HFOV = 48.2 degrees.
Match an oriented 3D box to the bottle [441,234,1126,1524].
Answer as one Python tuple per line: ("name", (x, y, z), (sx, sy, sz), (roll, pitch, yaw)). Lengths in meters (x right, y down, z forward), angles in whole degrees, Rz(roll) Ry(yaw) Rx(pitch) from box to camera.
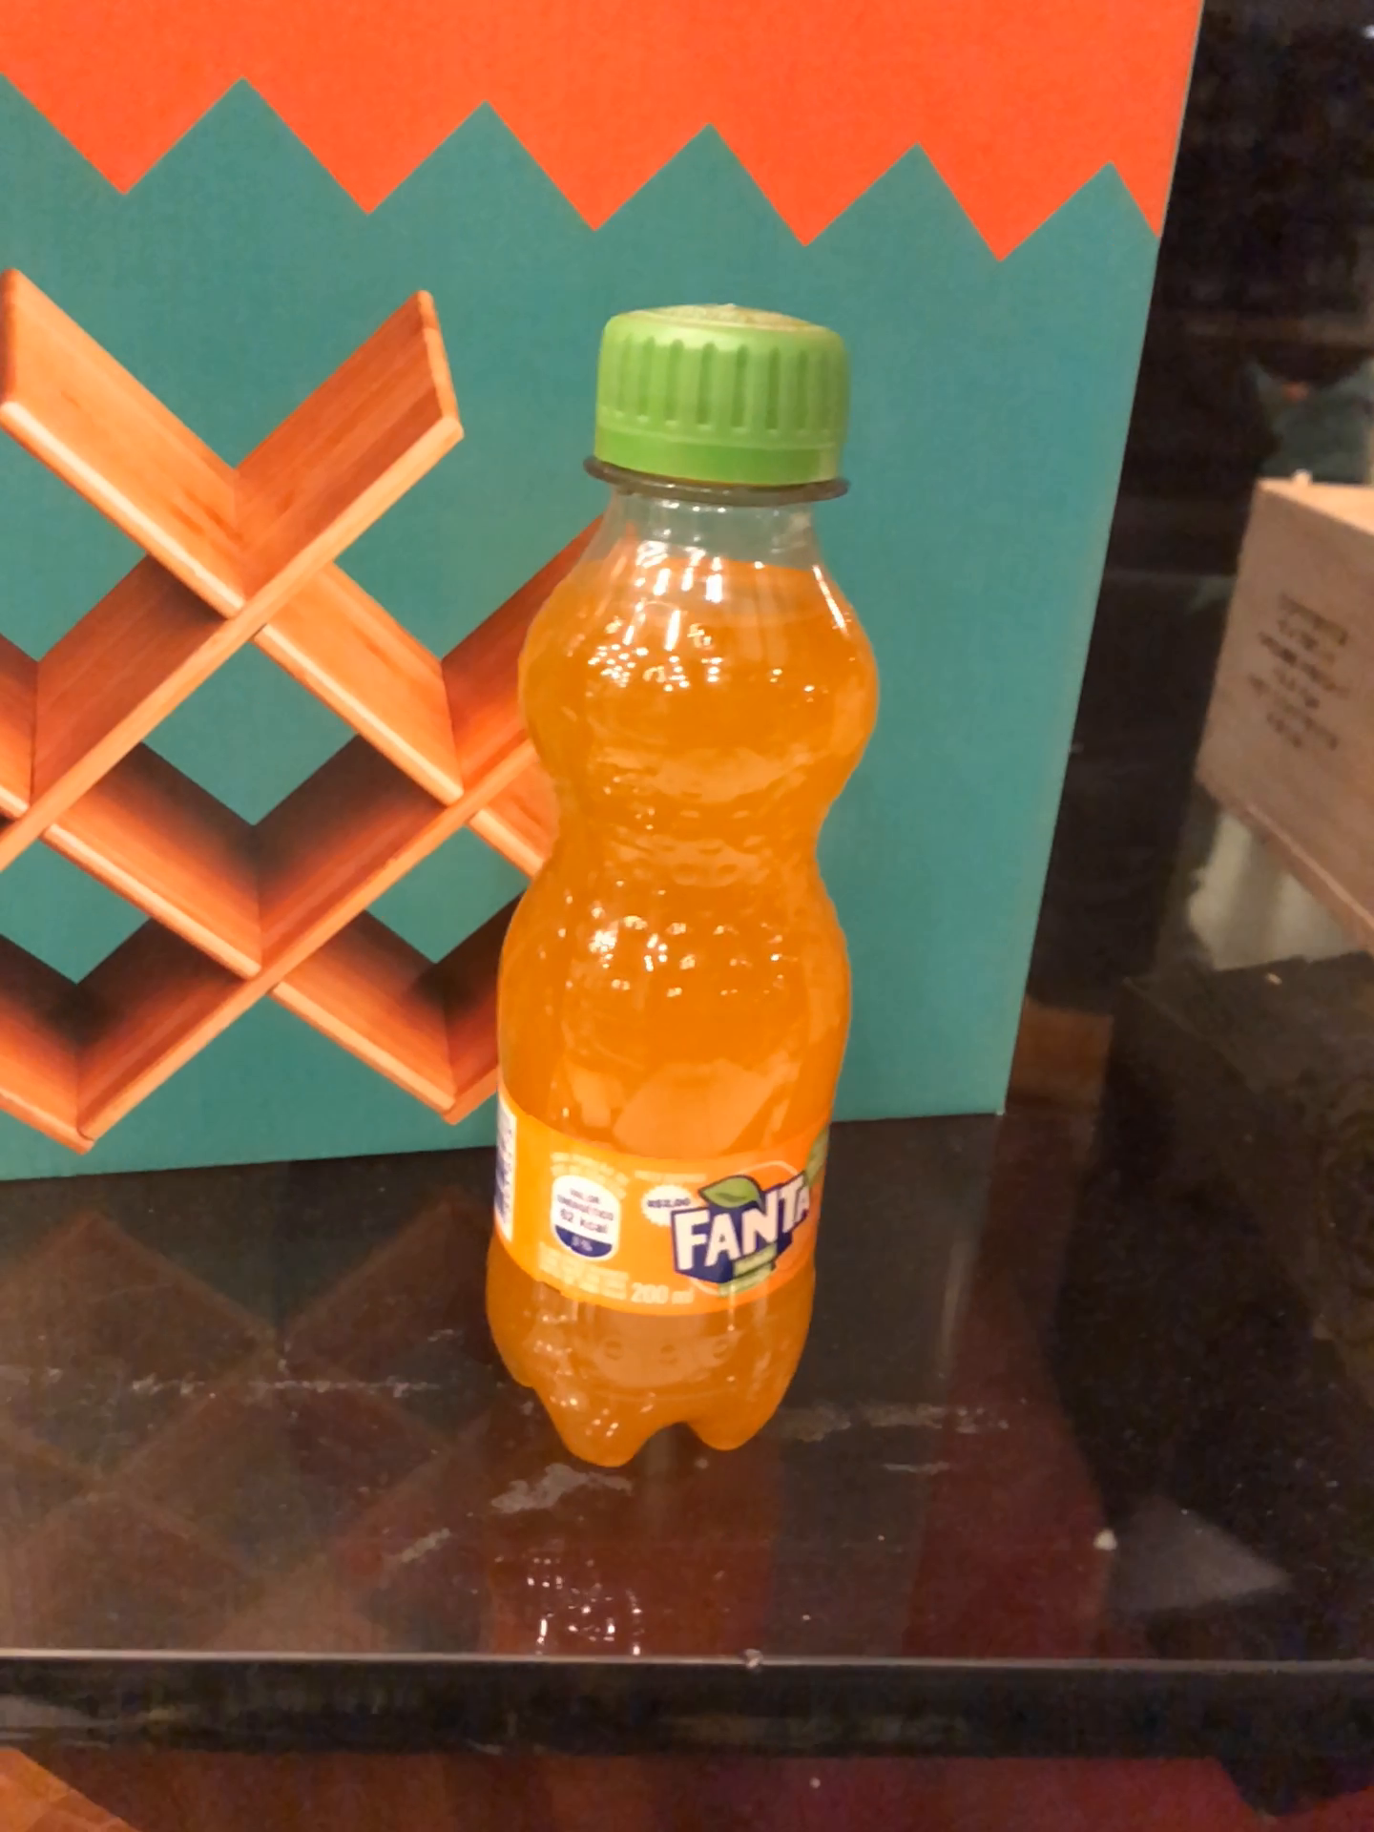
("bottle", (0.004, -0.005, 0.214), (0.060, 0.159, 0.060), (3, 24, -1))
